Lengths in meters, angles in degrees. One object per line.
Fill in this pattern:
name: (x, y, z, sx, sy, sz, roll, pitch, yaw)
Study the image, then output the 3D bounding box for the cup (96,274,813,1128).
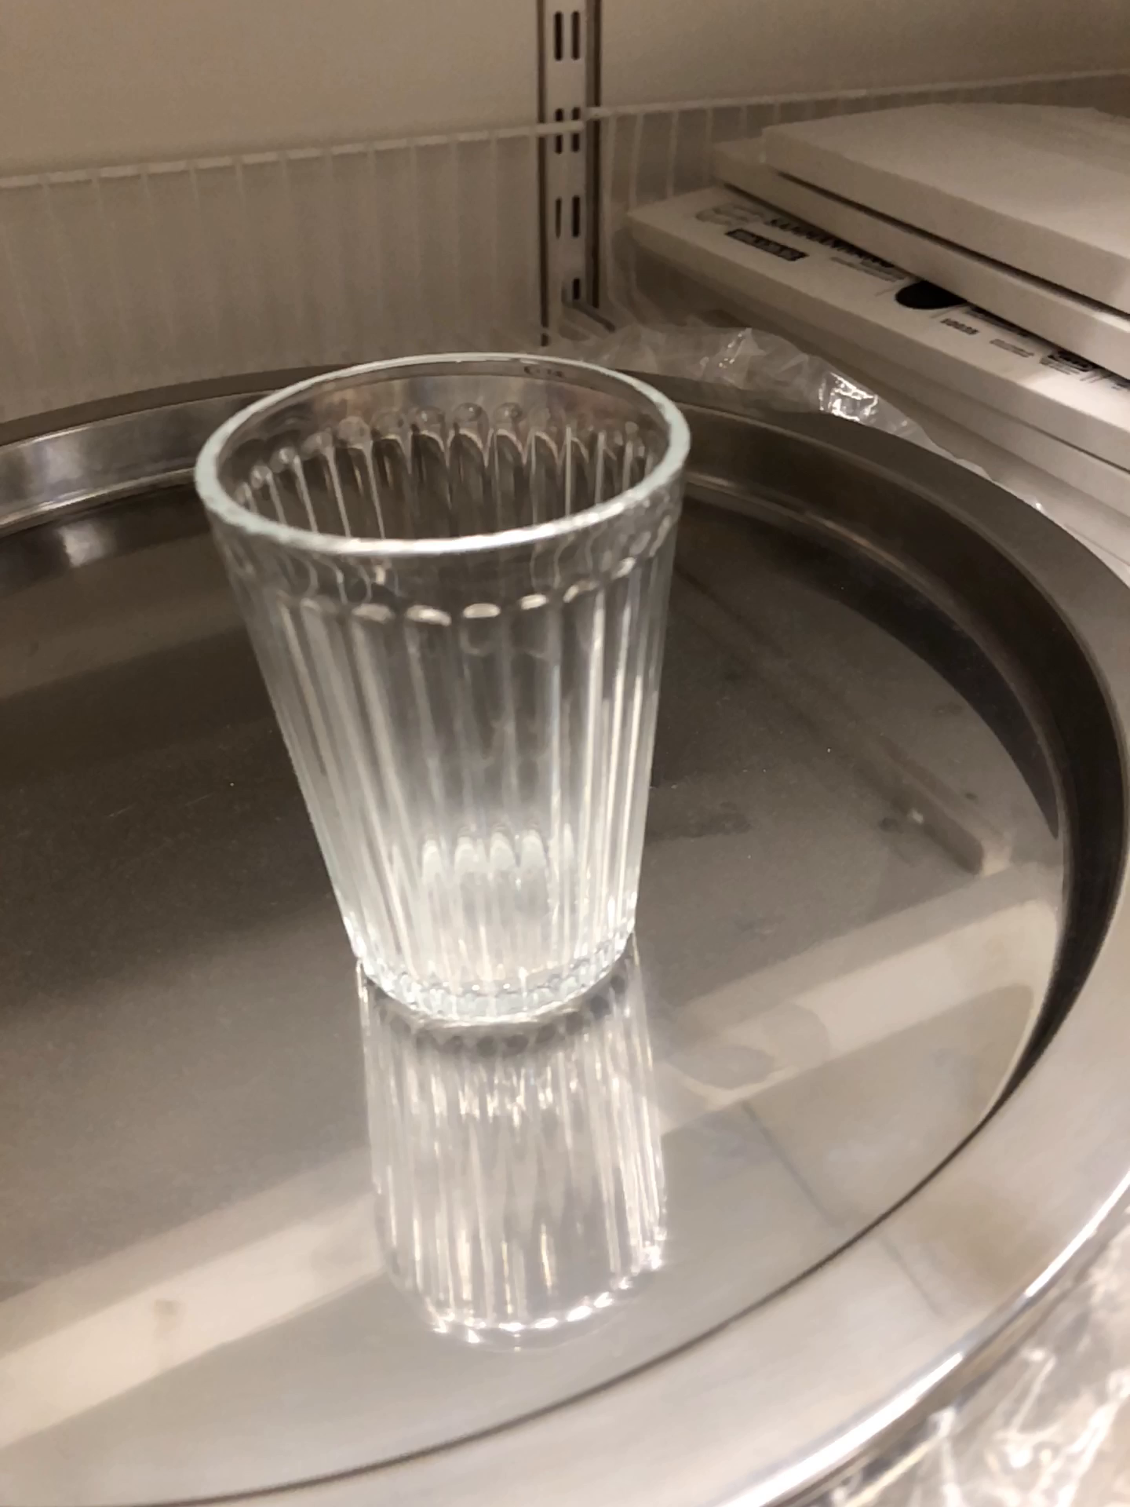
cup: (-0.012, -0.012, 0.203, 0.070, 0.100, 0.070, -3, 36, 2)
